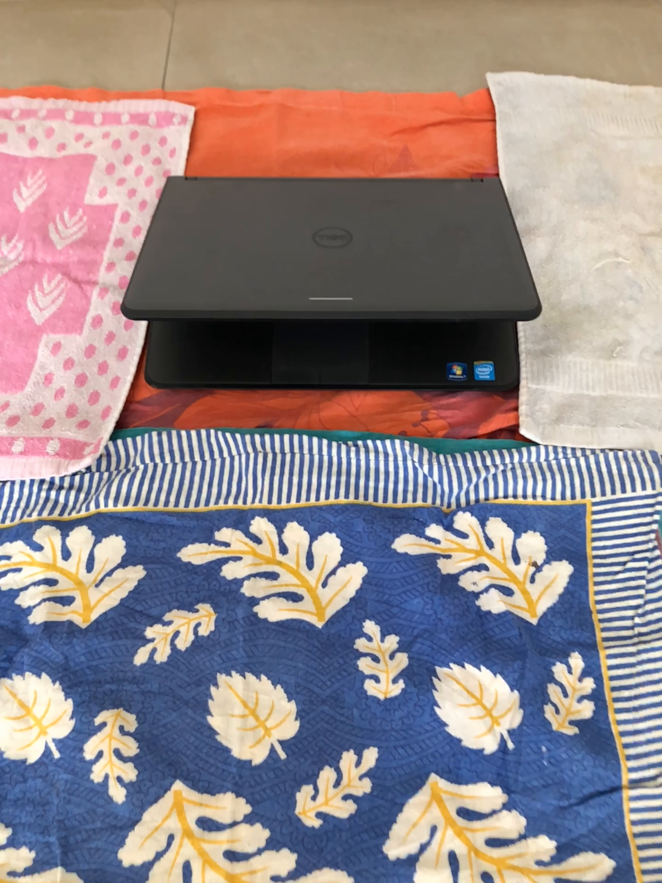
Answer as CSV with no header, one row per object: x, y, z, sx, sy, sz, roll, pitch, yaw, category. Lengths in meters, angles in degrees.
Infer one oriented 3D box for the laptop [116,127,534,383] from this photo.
-0.003,-0.167,0.638,0.314,0.078,0.227,0,61,0,laptop
